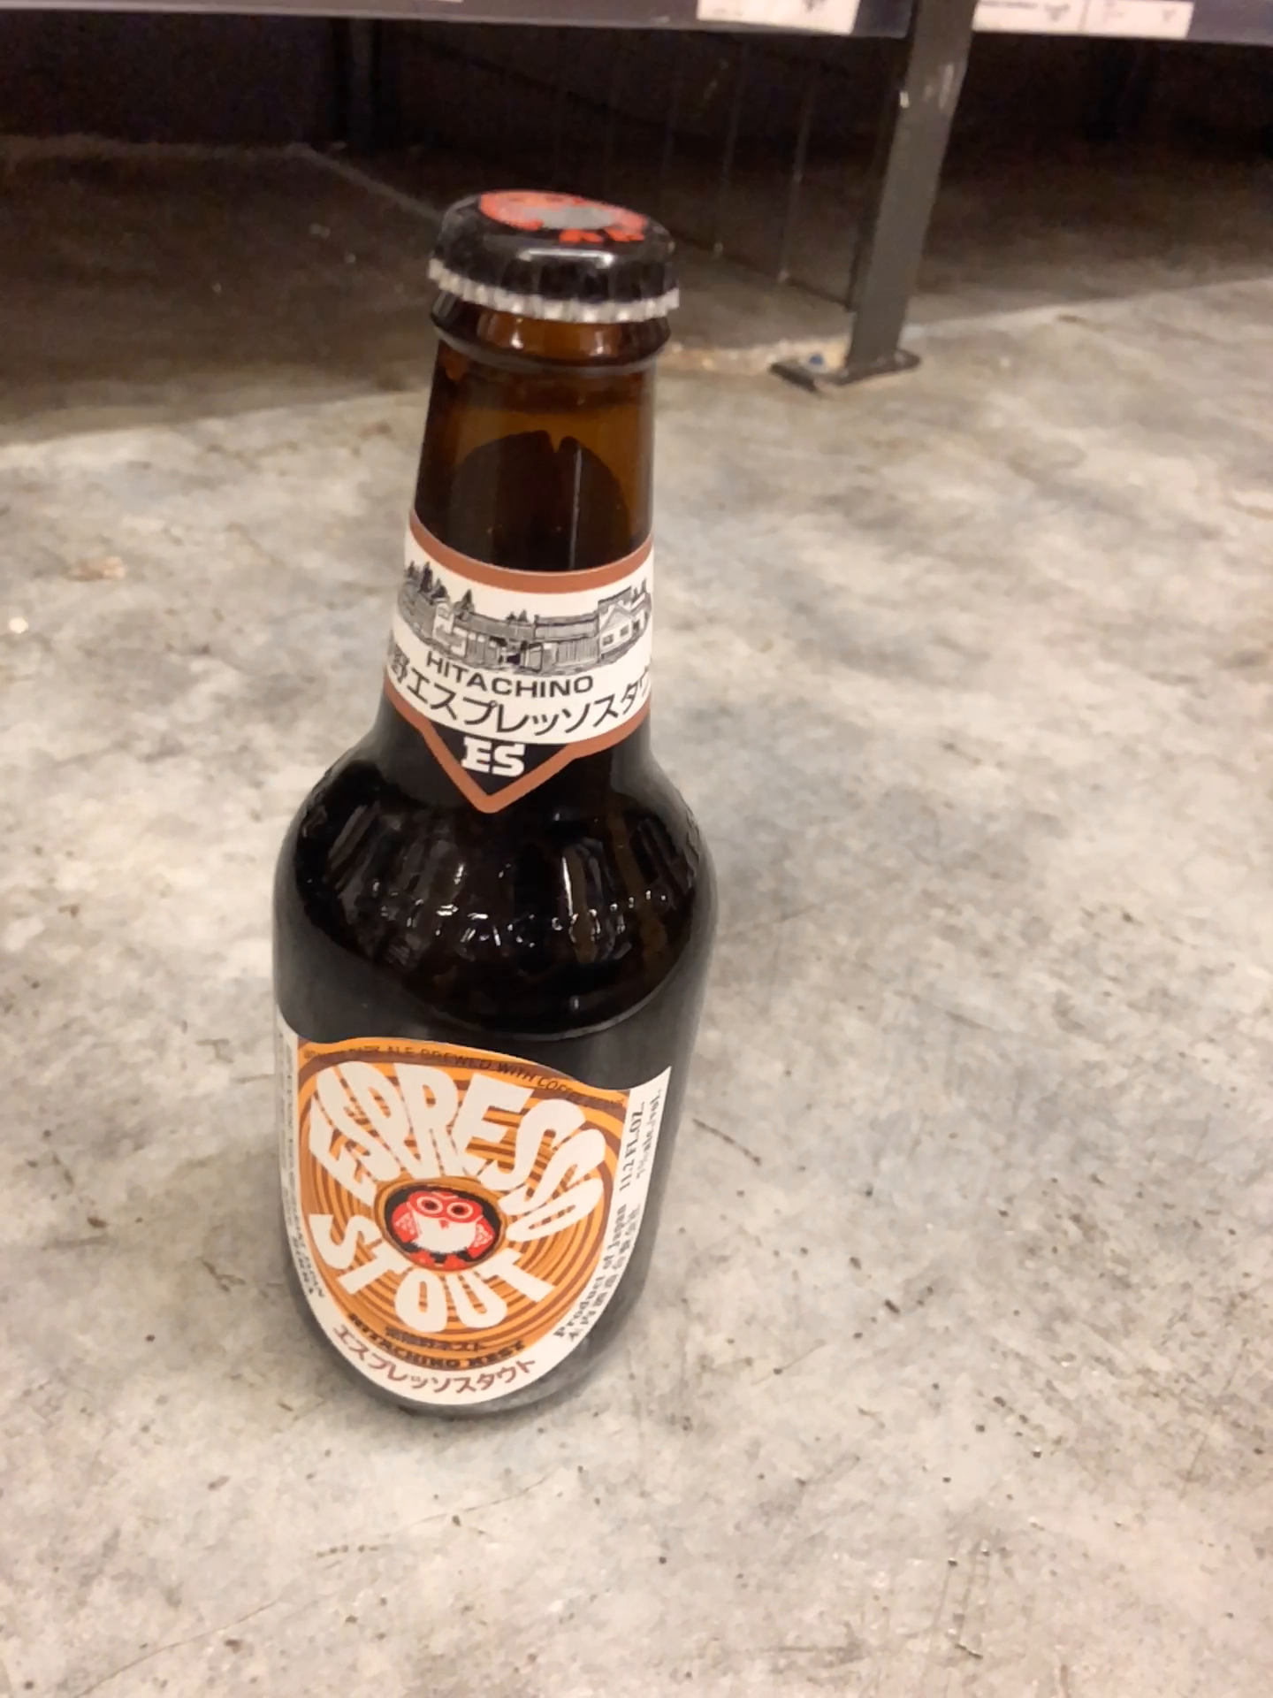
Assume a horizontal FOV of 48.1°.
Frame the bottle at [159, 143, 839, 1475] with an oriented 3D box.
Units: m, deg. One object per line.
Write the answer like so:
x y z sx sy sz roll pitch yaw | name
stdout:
-0.020 0.005 0.210 0.063 0.180 0.069 6 36 -4 | bottle
